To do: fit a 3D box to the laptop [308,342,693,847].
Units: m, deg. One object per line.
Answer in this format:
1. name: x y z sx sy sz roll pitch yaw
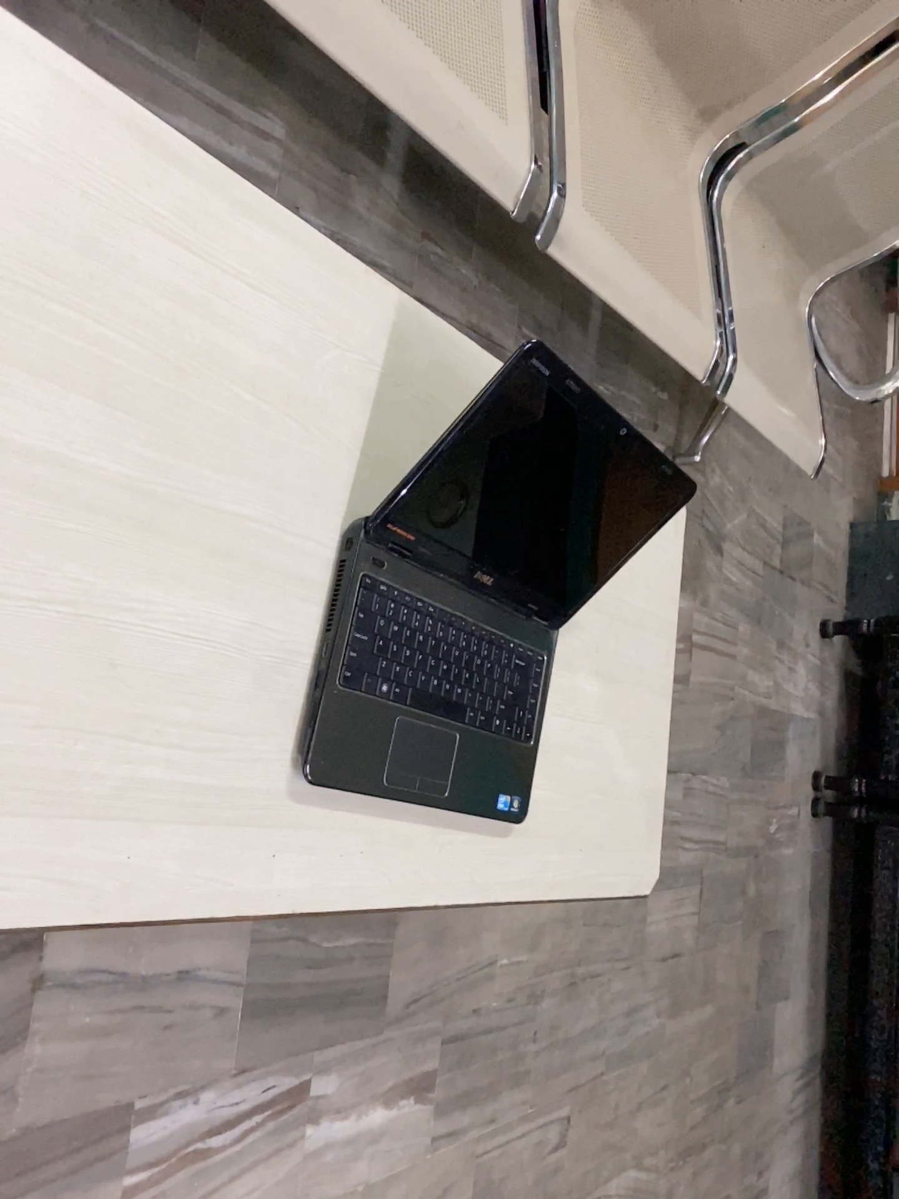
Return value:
1. laptop: 0.073 0.019 0.871 0.330 0.152 0.378 24 71 -49
